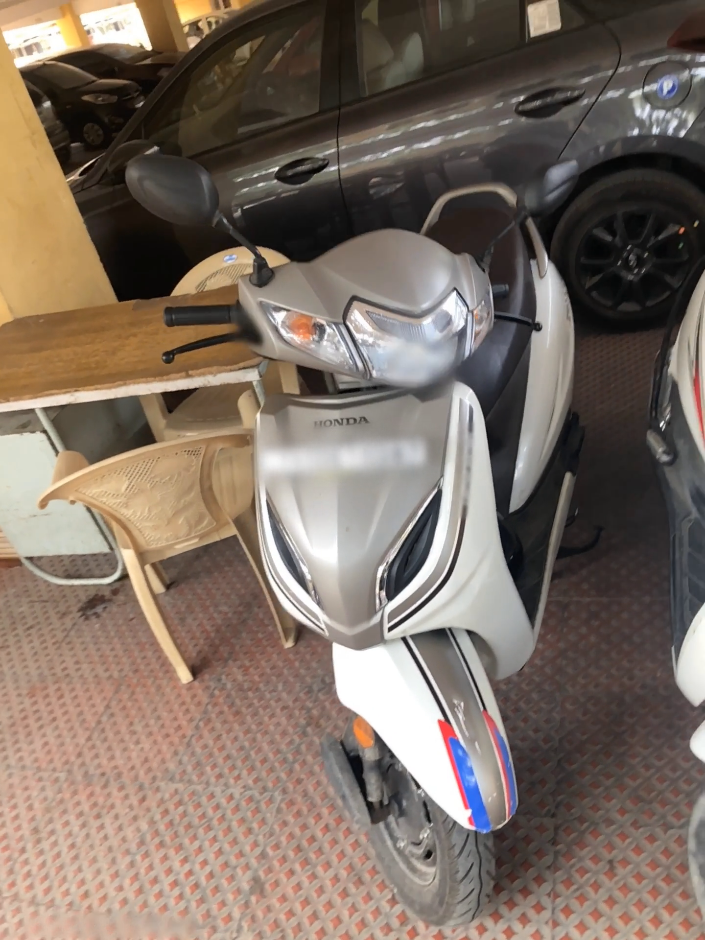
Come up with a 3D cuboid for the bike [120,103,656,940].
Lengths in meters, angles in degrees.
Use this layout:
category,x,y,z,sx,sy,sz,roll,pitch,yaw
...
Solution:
category,x,y,z,sx,sy,sz,roll,pitch,yaw
bike,0.203,-0.003,1.664,0.627,0.850,1.462,-6,40,18
